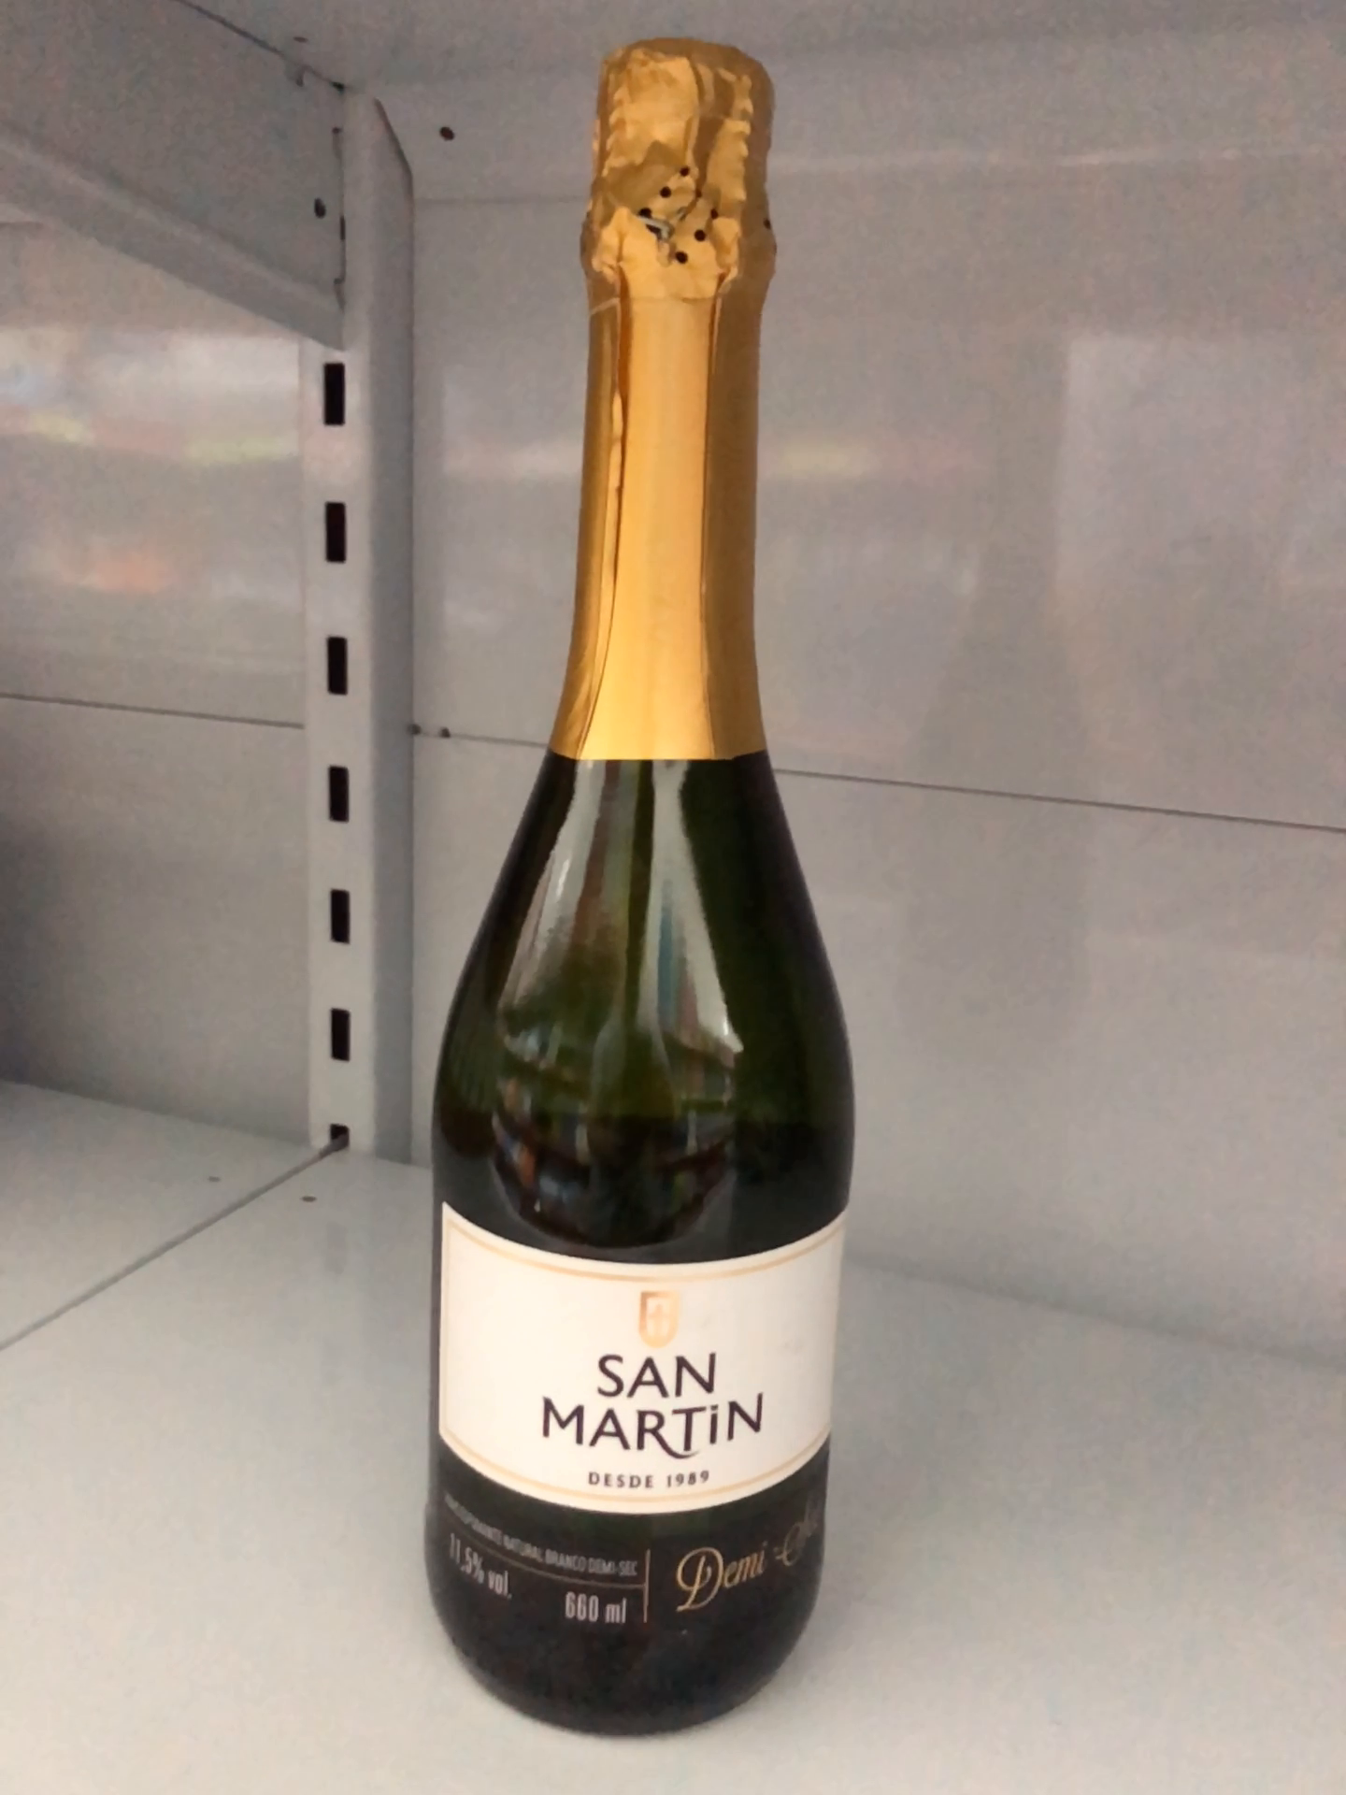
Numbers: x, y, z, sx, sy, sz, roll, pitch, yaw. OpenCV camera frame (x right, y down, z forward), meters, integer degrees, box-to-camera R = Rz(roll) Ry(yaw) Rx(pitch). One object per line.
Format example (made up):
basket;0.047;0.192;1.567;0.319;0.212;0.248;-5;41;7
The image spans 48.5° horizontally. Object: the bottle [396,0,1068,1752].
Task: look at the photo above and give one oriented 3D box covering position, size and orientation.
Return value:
bottle;0.000;-0.007;0.274;0.090;0.309;0.080;2;13;-3
